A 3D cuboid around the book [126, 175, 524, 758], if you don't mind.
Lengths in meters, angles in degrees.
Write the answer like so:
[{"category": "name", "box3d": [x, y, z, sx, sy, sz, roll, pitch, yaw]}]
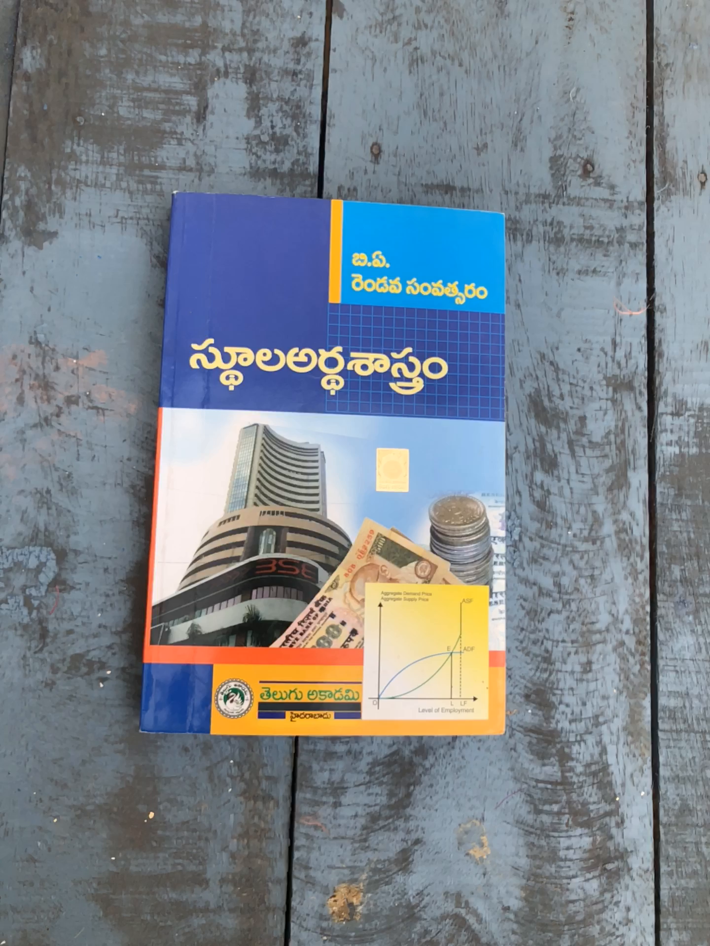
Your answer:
[{"category": "book", "box3d": [-0.010, -0.003, 0.361, 0.170, 0.030, 0.250, 1, 86, -6]}]
